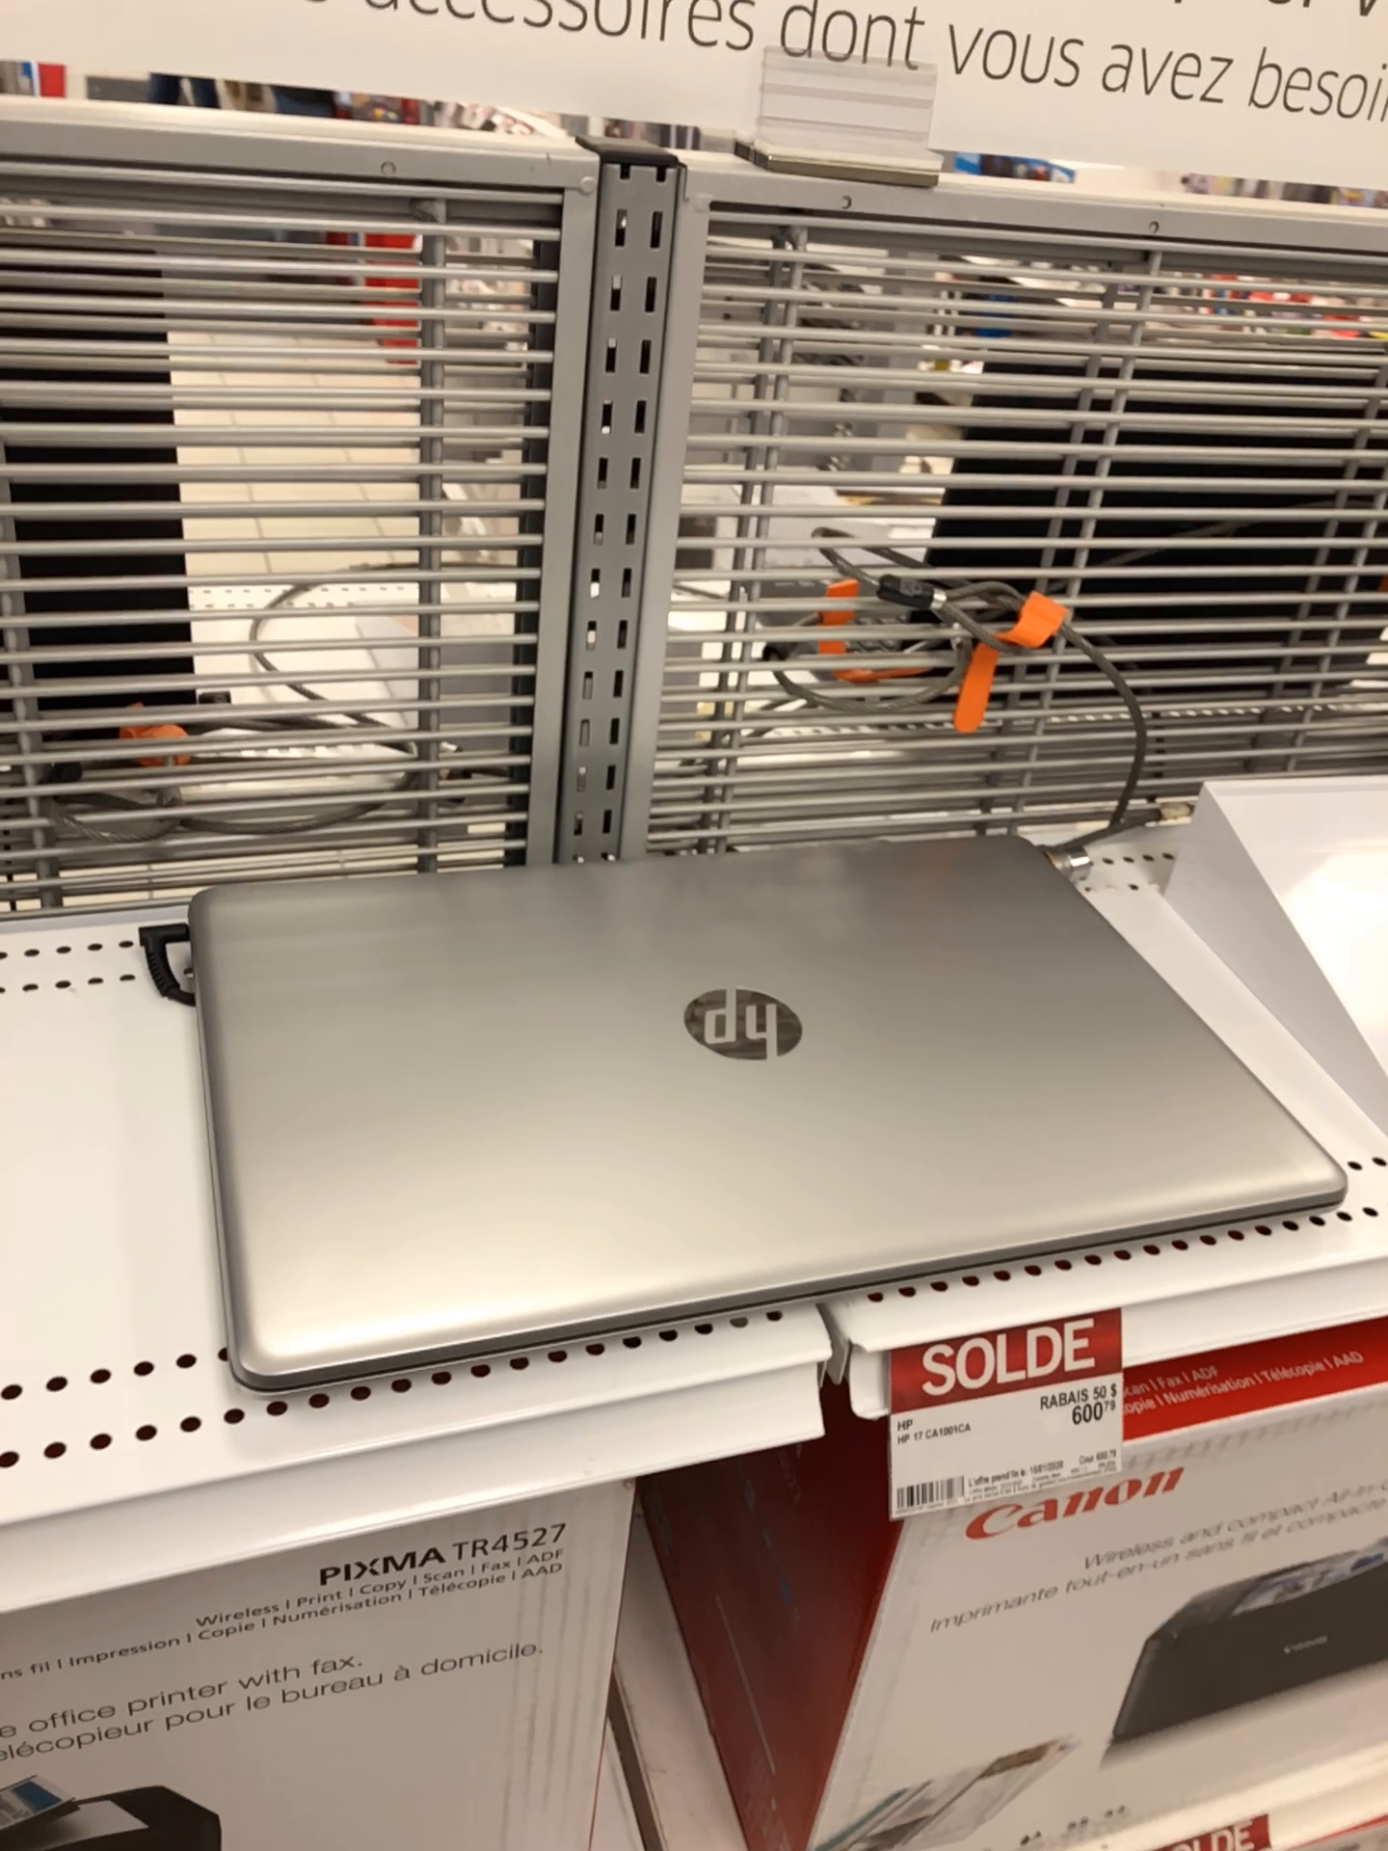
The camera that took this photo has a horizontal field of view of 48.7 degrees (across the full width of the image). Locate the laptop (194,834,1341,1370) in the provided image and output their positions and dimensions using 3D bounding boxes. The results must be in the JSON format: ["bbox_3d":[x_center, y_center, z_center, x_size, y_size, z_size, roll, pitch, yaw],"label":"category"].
[{"bbox_3d":[0.014,0.044,0.647,0.416,0.002,0.278,-5,34,-18],"label":"laptop"}]
